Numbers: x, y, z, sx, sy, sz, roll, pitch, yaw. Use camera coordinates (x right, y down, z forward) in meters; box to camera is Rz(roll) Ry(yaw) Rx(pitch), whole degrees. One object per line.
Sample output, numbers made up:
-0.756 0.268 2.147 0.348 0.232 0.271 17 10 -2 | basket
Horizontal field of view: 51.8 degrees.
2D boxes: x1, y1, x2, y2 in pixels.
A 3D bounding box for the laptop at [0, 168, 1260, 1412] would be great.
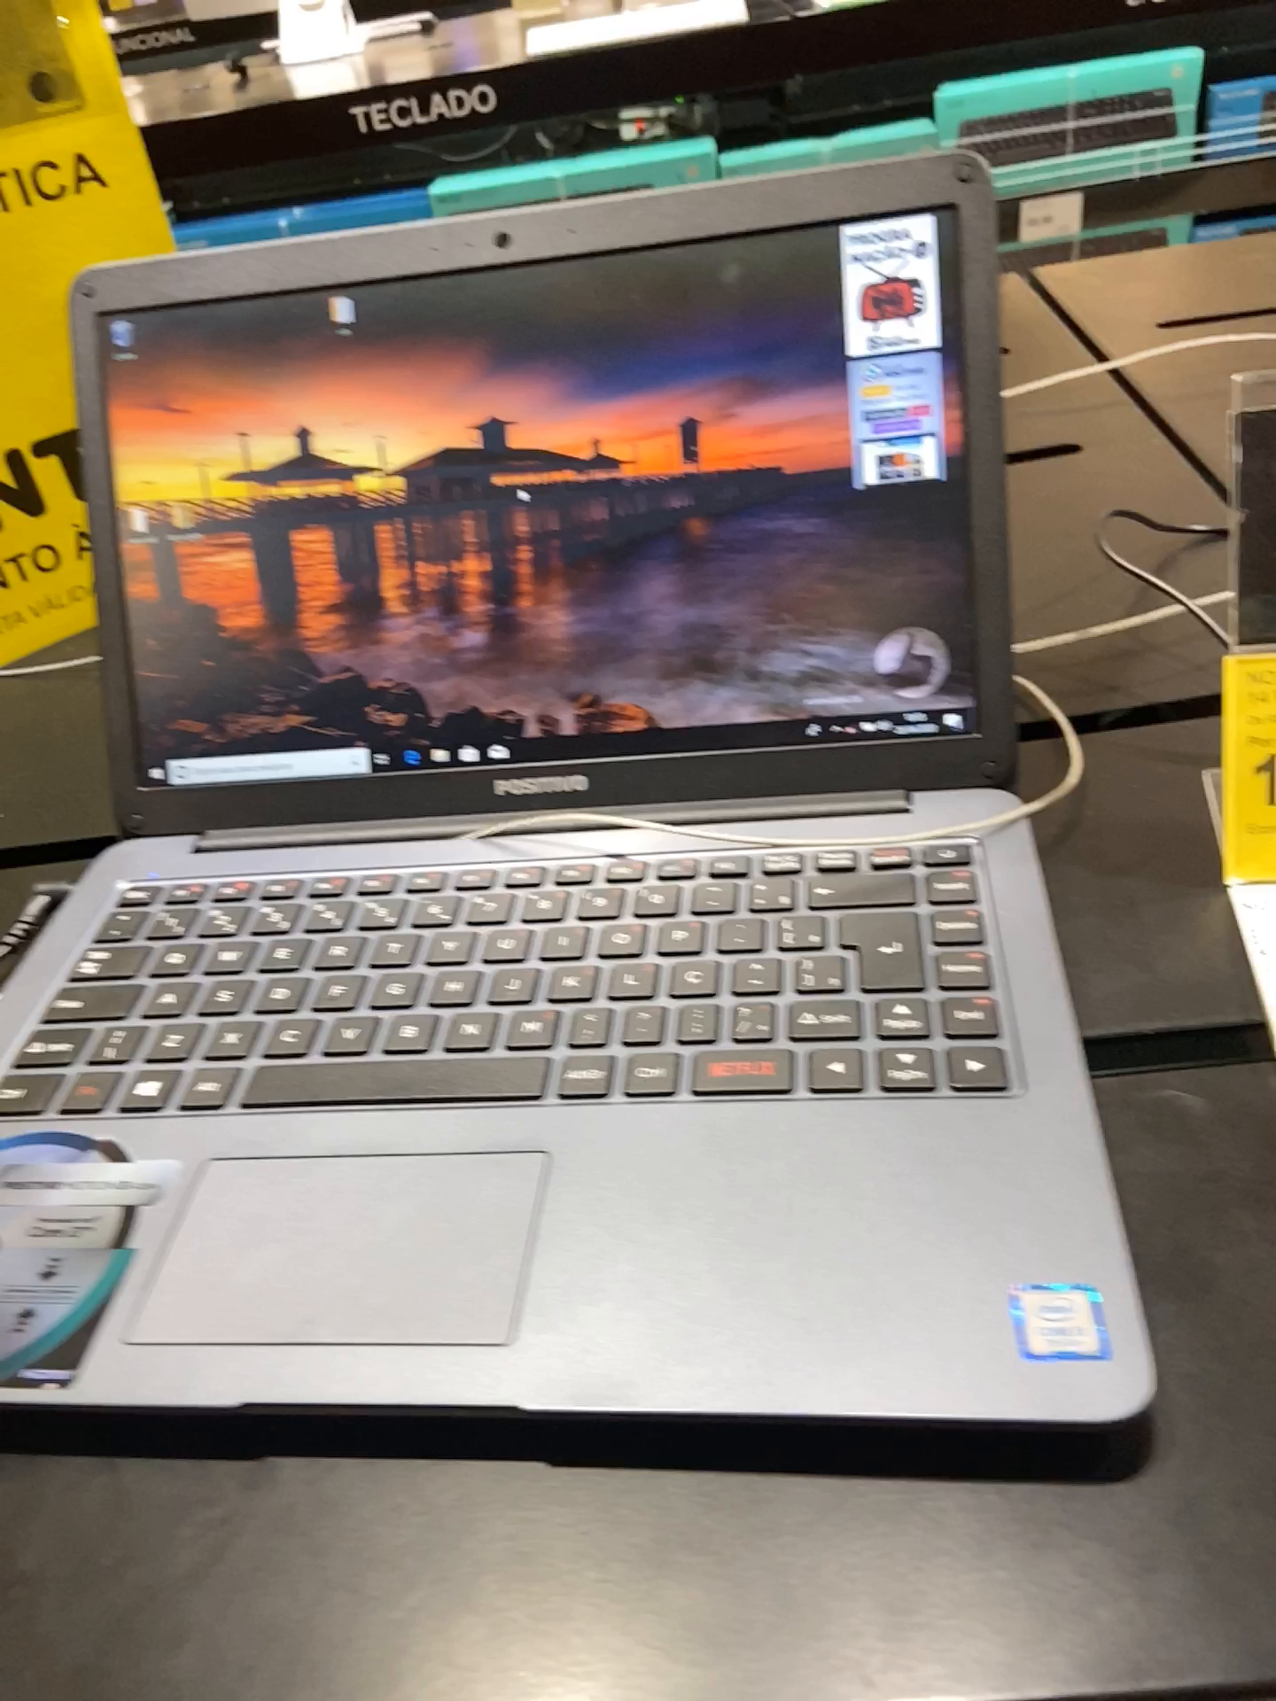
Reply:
-0.053 -0.048 0.383 0.332 0.172 0.343 -3 37 10 | laptop
